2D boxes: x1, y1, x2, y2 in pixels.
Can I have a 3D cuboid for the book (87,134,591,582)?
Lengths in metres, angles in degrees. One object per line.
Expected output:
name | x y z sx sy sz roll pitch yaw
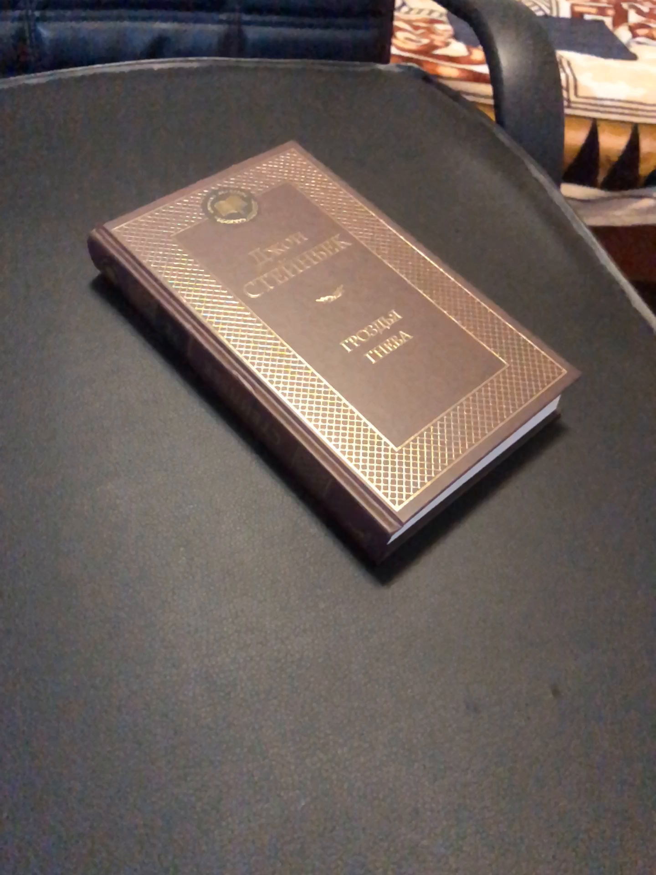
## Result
book | 0.002 -0.051 0.345 0.130 0.040 0.200 -35 69 -27
